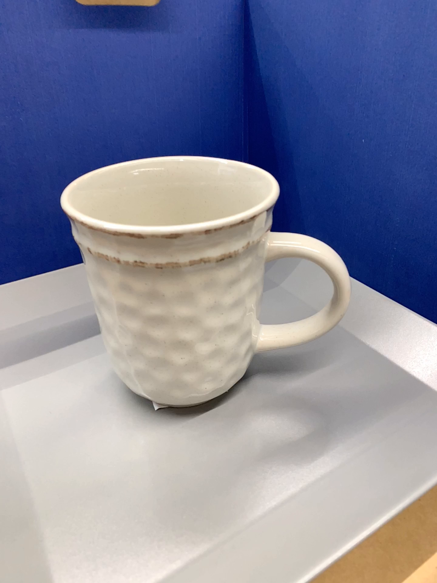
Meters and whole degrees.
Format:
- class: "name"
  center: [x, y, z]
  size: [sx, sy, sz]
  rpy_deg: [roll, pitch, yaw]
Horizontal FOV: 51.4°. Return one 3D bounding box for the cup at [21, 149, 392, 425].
- class: "cup"
  center: [-0.007, -0.011, 0.214]
  size: [0.123, 0.082, 0.102]
  rpy_deg: [-4, 29, -5]
